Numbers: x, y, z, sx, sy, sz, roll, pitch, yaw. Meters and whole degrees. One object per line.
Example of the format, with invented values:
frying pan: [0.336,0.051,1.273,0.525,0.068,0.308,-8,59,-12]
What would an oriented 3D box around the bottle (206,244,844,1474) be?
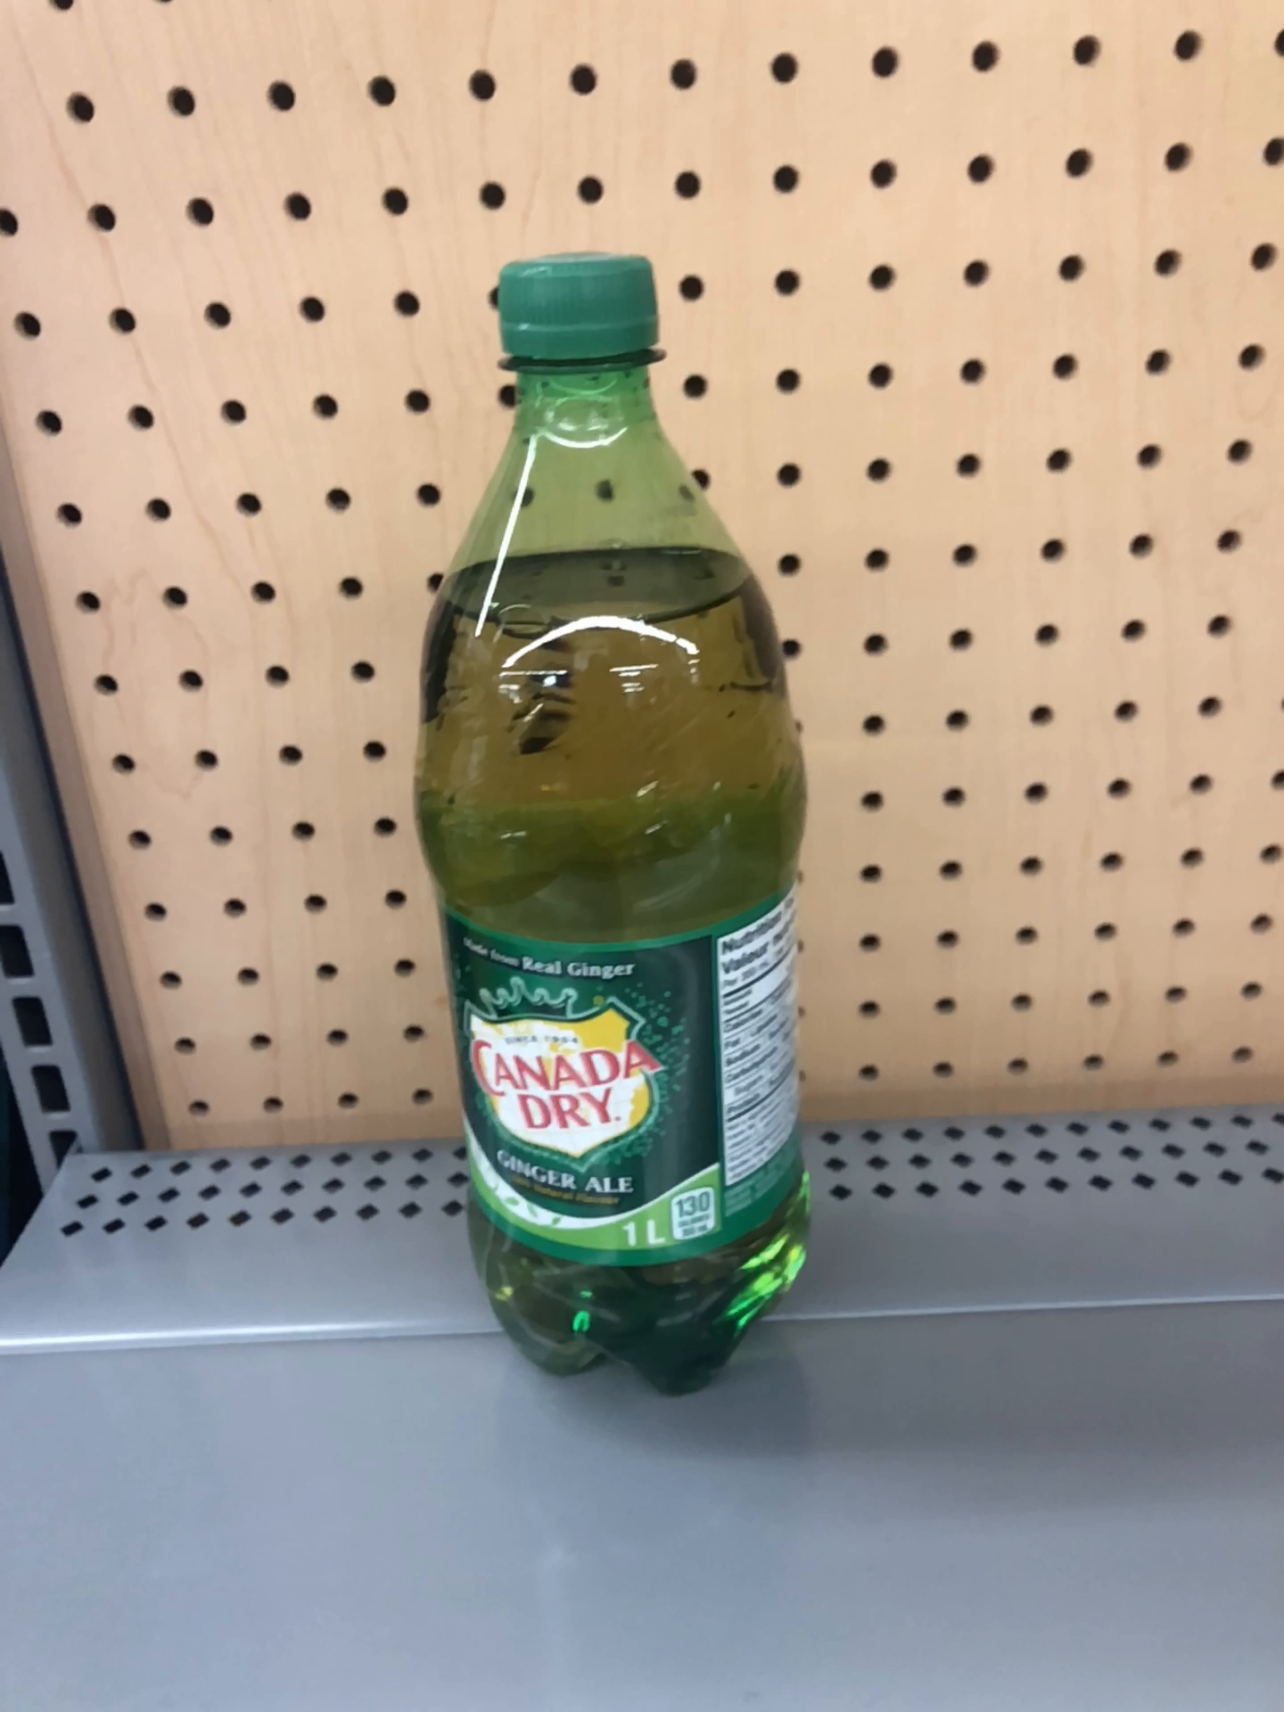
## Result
bottle: [-0.011,0.002,0.322,0.090,0.248,0.090,-3,25,1]
